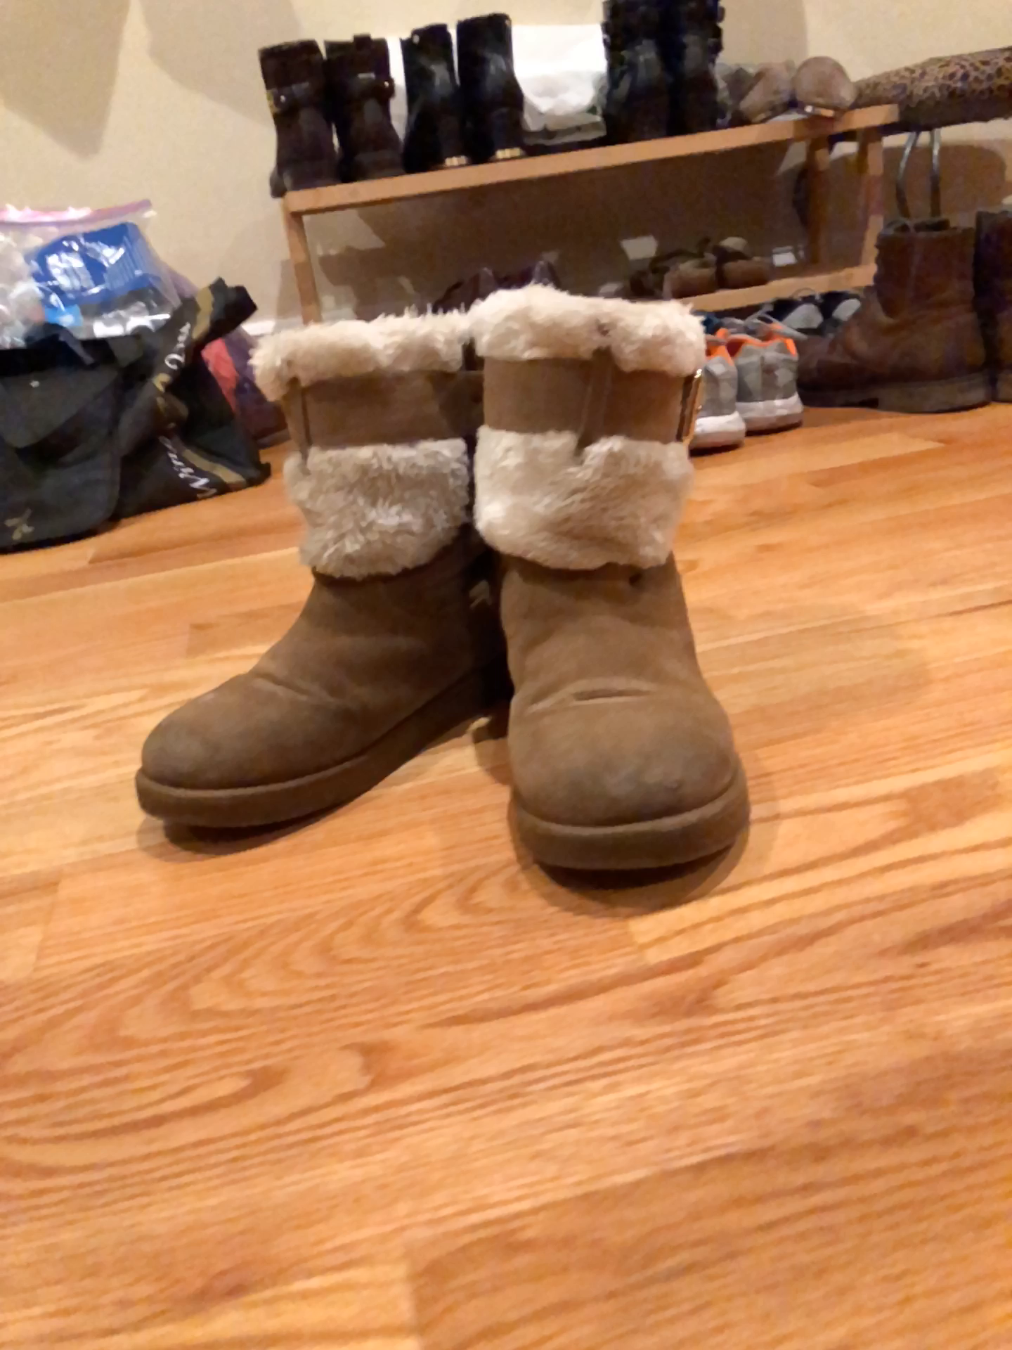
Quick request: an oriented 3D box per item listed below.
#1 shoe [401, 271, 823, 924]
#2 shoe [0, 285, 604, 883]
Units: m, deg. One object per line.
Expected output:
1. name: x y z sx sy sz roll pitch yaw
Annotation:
1. shoe: 0.041 -0.057 0.469 0.113 0.193 0.255 -7 21 4
2. shoe: -0.083 -0.062 0.523 0.106 0.193 0.255 11 28 41
